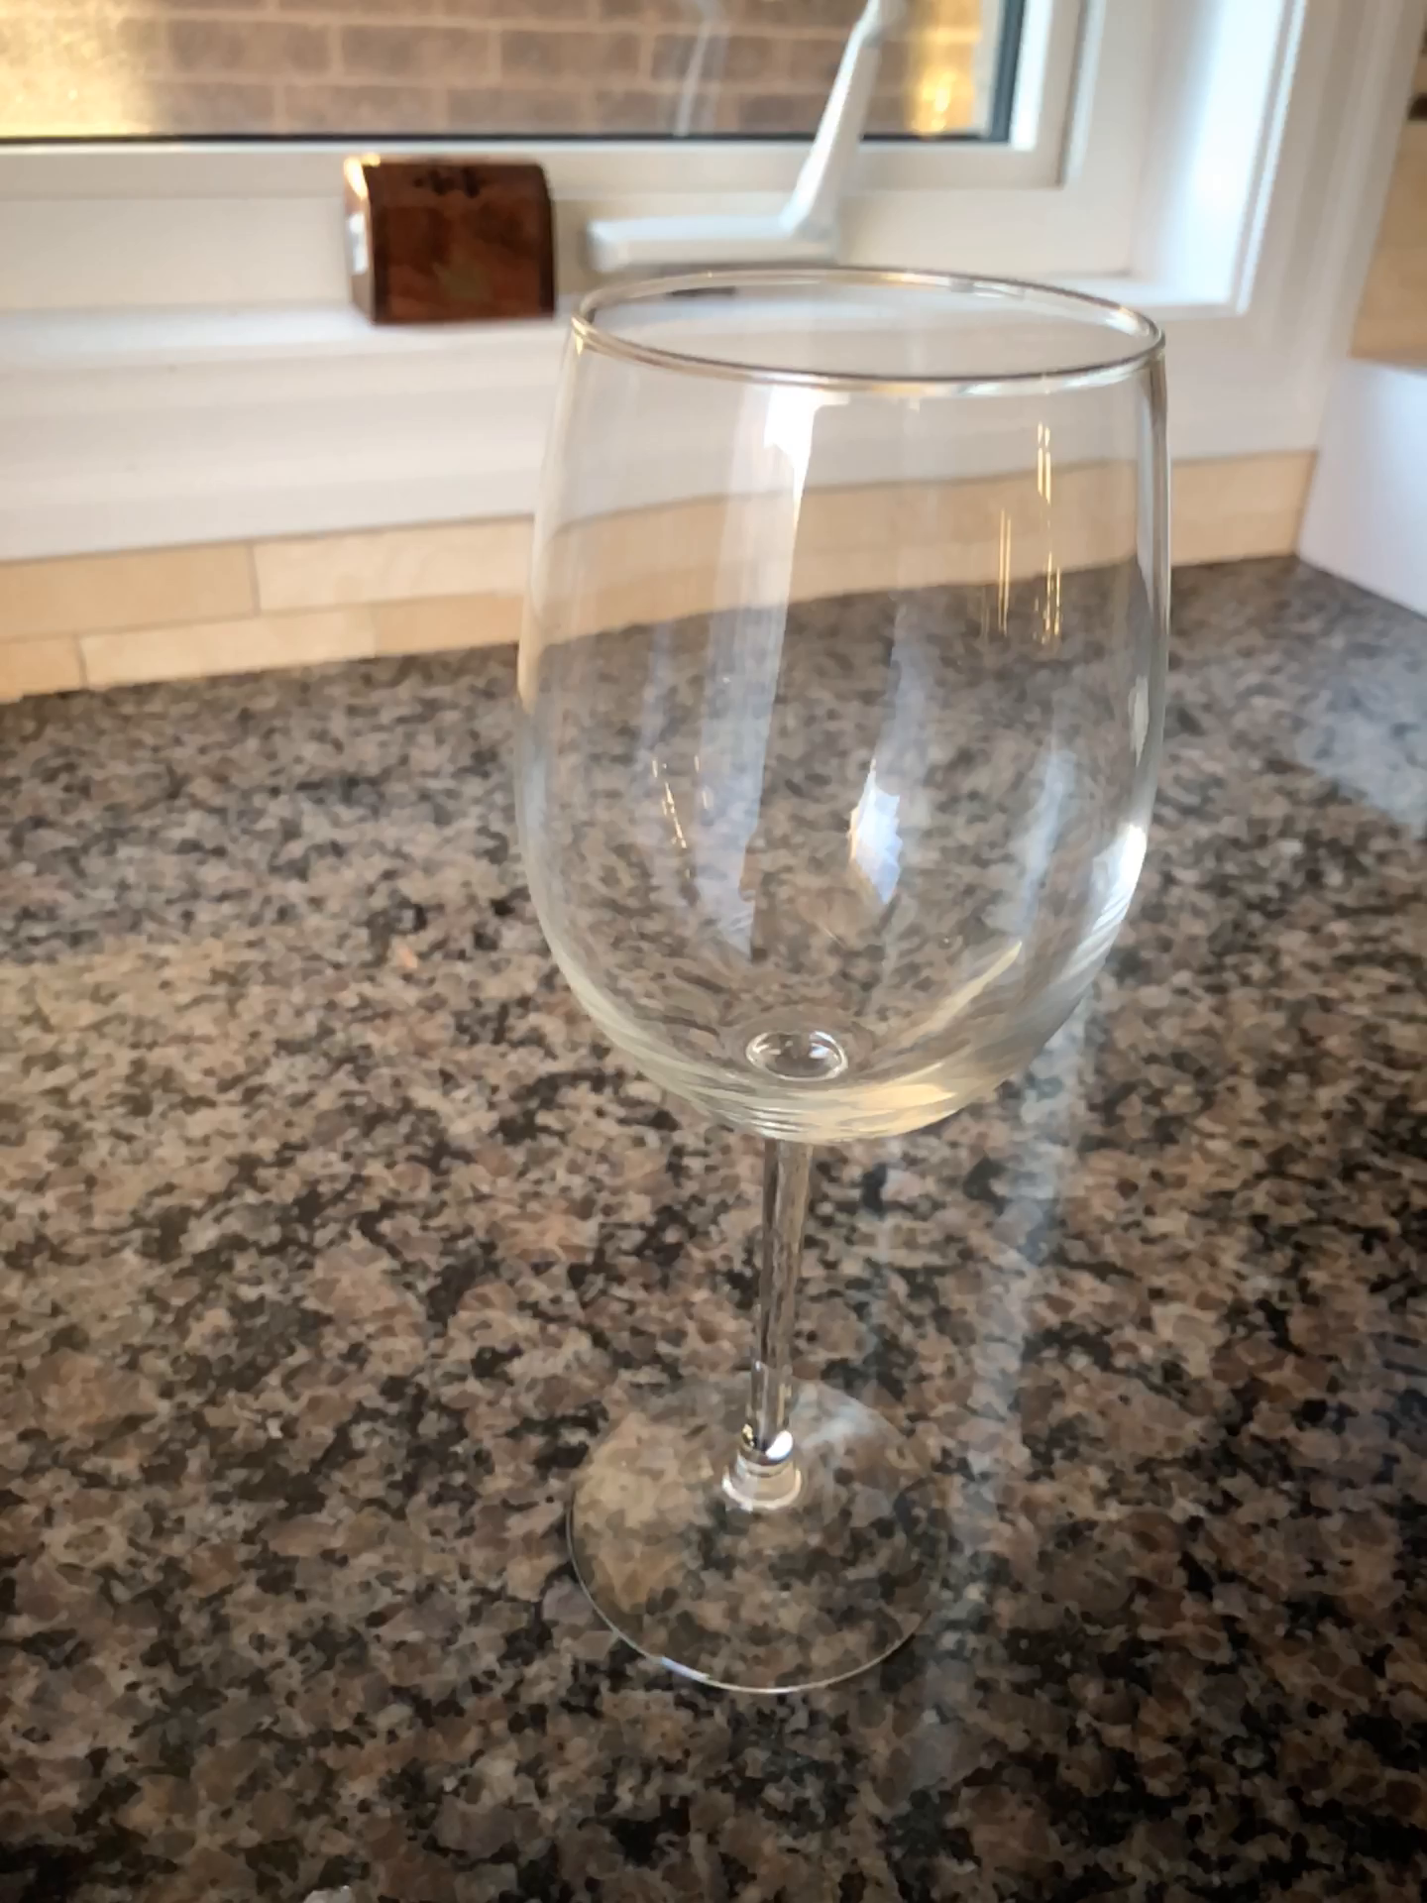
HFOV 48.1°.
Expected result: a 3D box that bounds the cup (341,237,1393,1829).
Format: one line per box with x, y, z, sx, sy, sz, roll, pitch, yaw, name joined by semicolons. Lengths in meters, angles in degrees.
0.007;0.015;0.249;0.095;0.217;0.098;2;32;-1;cup
